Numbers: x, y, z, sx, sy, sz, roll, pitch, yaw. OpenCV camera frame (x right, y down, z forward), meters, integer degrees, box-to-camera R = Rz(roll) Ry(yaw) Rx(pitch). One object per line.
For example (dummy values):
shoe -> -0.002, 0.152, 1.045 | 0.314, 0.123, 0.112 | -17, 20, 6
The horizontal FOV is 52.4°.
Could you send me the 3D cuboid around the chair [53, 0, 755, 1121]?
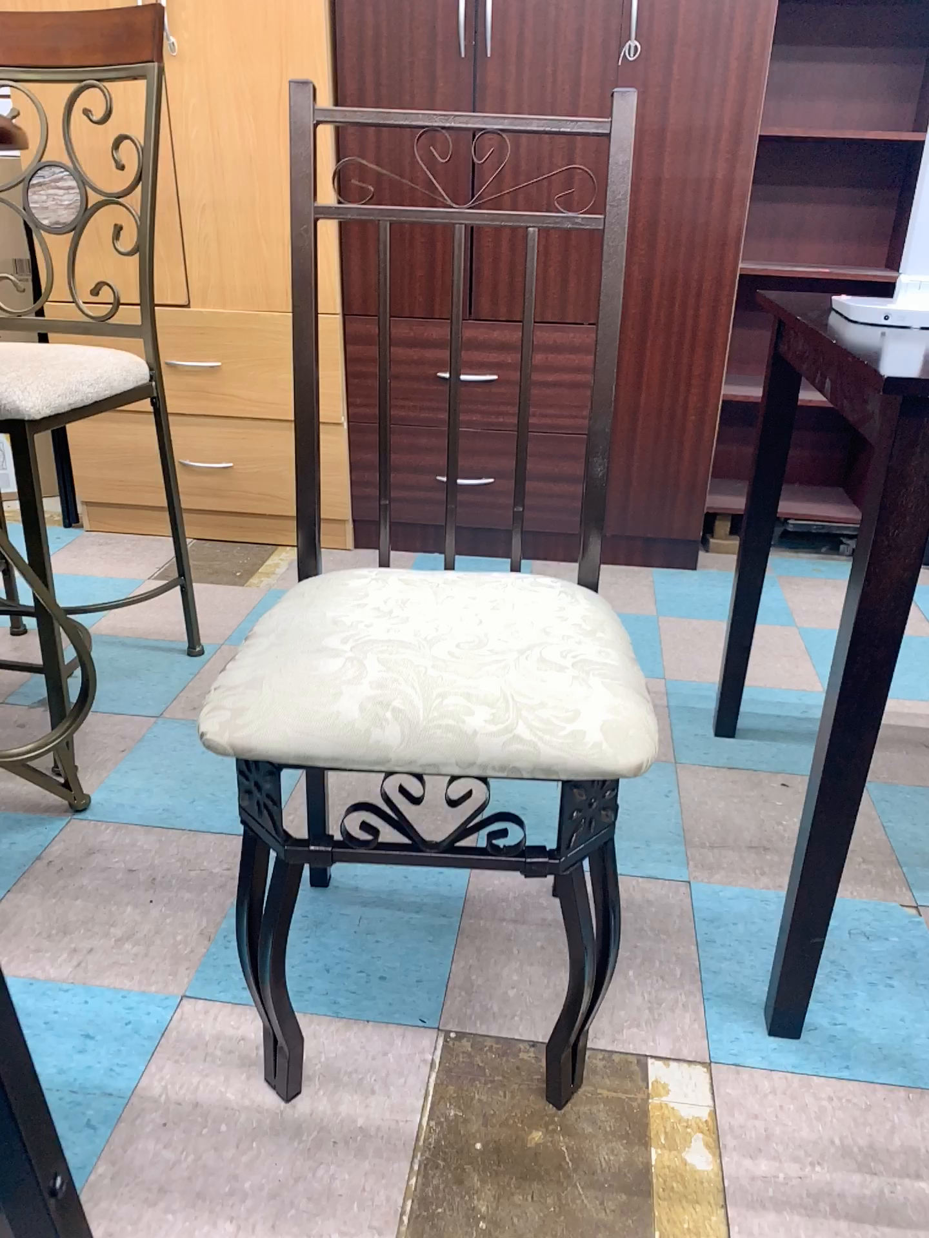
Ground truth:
chair -> -0.038, -0.036, 0.972 | 0.415, 0.951, 0.478 | 2, 25, 1
